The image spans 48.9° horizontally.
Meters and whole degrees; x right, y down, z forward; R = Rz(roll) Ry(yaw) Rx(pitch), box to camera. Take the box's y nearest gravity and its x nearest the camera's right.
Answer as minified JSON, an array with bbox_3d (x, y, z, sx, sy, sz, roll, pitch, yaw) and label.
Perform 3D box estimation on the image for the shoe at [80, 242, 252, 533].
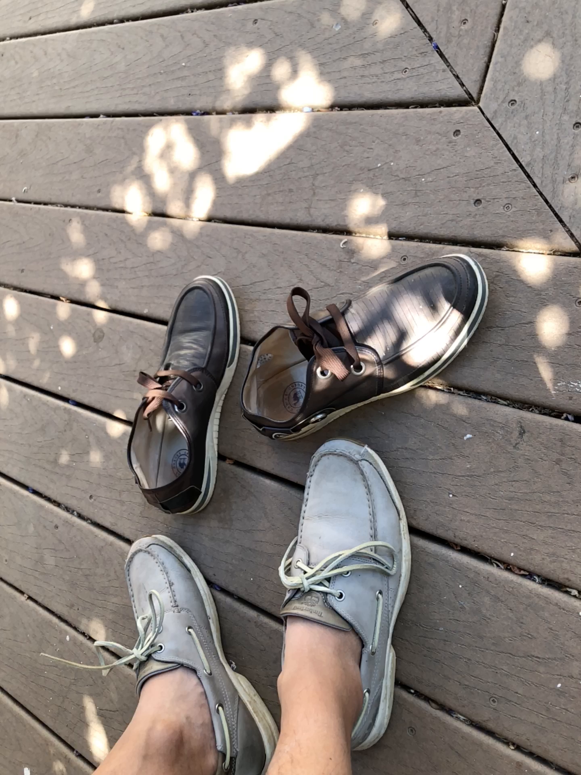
[{"bbox_3d":[-0.140,0.000,0.735,0.110,0.111,0.303,5,86,33],"label":"shoe"}]

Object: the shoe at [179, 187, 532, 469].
[{"bbox_3d":[0.052,-0.036,0.614,0.304,0.111,0.110,-32,68,26],"label":"shoe"}]

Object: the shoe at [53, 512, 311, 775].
[{"bbox_3d":[-0.126,0.294,0.693,0.110,0.111,0.304,-46,62,19],"label":"shoe"}]

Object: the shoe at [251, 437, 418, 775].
[{"bbox_3d":[0.042,0.202,0.595,0.110,0.111,0.303,-5,81,32],"label":"shoe"}]
